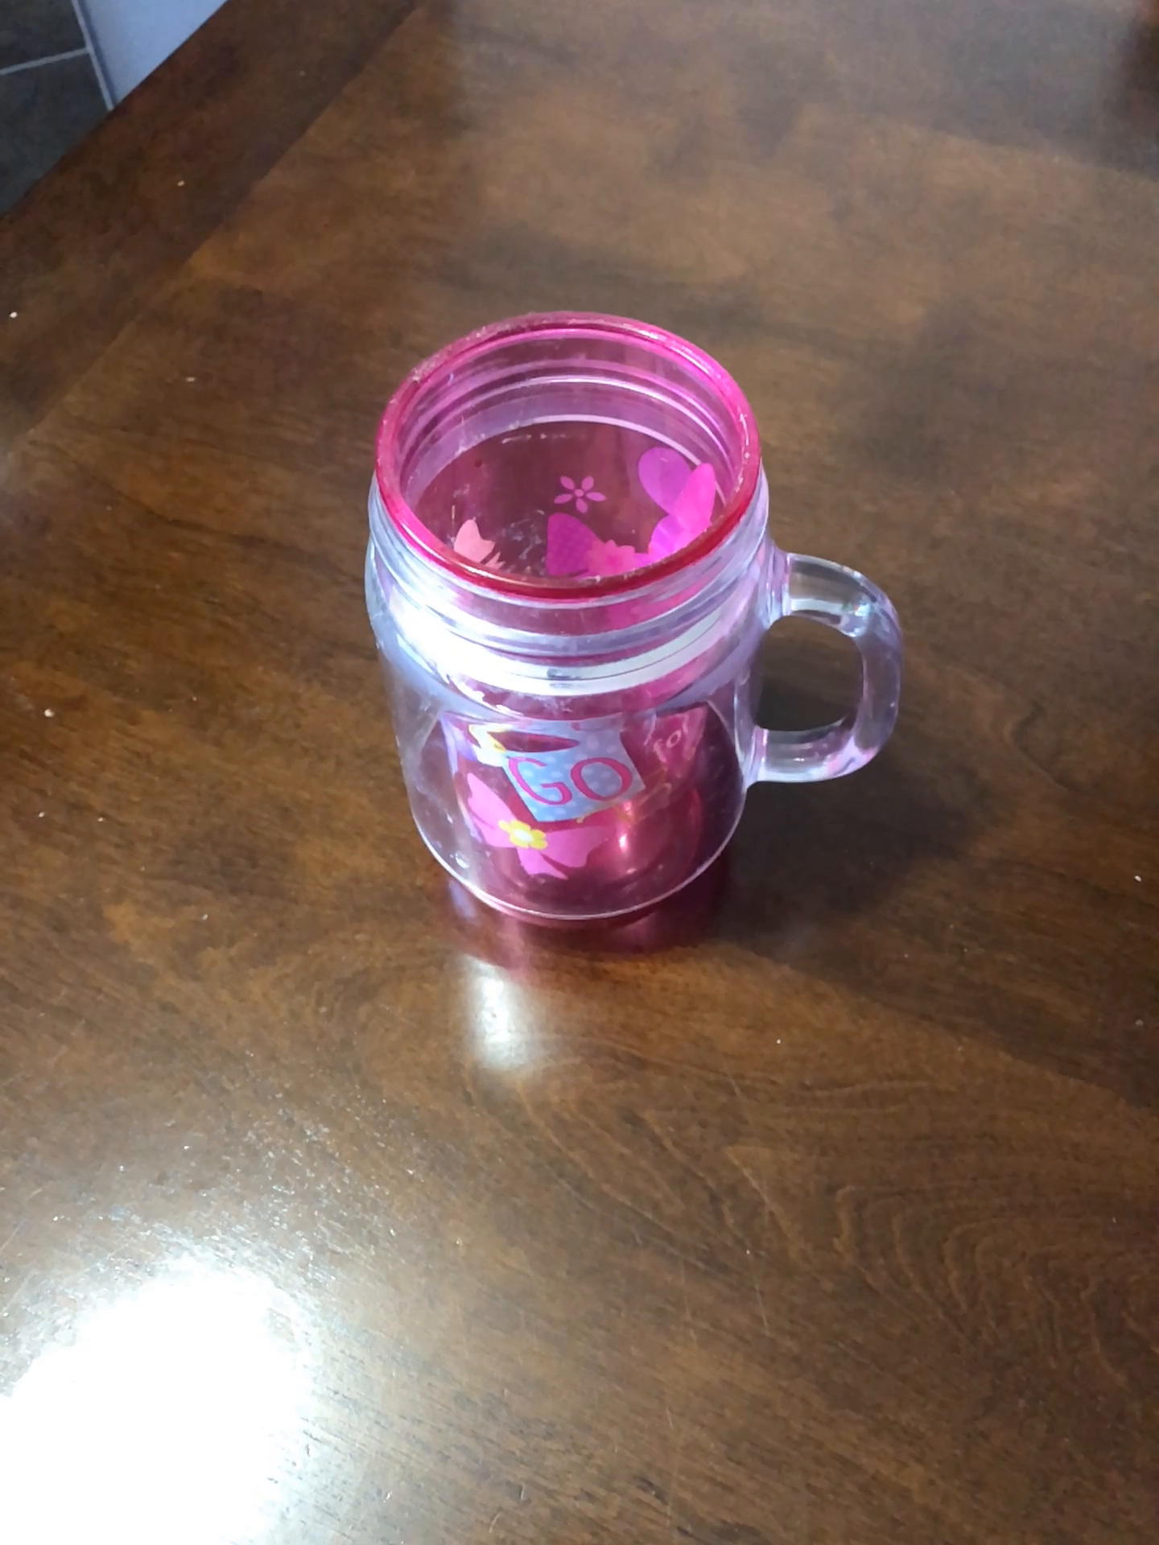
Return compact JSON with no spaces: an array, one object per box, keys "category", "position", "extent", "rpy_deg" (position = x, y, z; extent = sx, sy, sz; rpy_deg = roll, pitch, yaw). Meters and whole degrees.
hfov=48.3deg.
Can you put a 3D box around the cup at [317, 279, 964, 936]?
[{"category":"cup","position":[0.014,-0.031,0.329],"extent":[0.120,0.160,0.080],"rpy_deg":[2,58,3]}]
